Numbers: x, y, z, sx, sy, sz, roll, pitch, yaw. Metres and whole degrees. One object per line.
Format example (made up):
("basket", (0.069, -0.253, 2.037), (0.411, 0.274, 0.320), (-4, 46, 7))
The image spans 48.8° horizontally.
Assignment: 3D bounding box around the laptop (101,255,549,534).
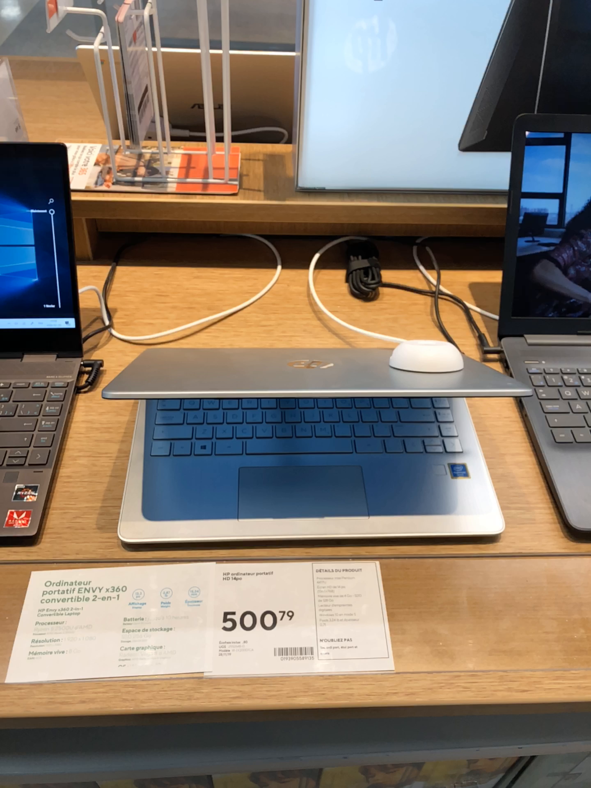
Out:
("laptop", (0.016, -0.008, 0.567), (0.314, 0.110, 0.217), (-1, 47, -3))
